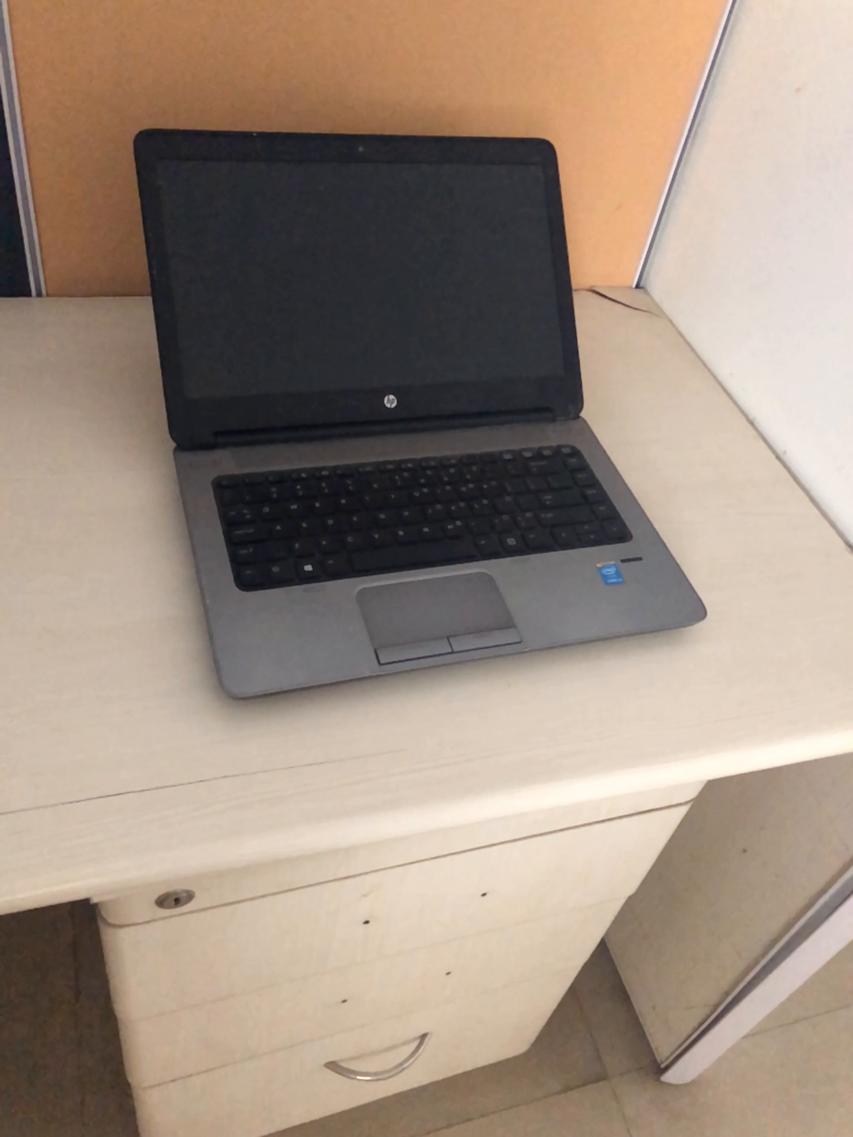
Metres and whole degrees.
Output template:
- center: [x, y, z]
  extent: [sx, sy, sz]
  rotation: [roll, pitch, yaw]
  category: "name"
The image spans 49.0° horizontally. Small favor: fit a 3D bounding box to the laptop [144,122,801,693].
- center: [-0.004, -0.142, 0.665]
  extent: [0.324, 0.167, 0.373]
  rotation: [-8, 50, -19]
  category: "laptop"
